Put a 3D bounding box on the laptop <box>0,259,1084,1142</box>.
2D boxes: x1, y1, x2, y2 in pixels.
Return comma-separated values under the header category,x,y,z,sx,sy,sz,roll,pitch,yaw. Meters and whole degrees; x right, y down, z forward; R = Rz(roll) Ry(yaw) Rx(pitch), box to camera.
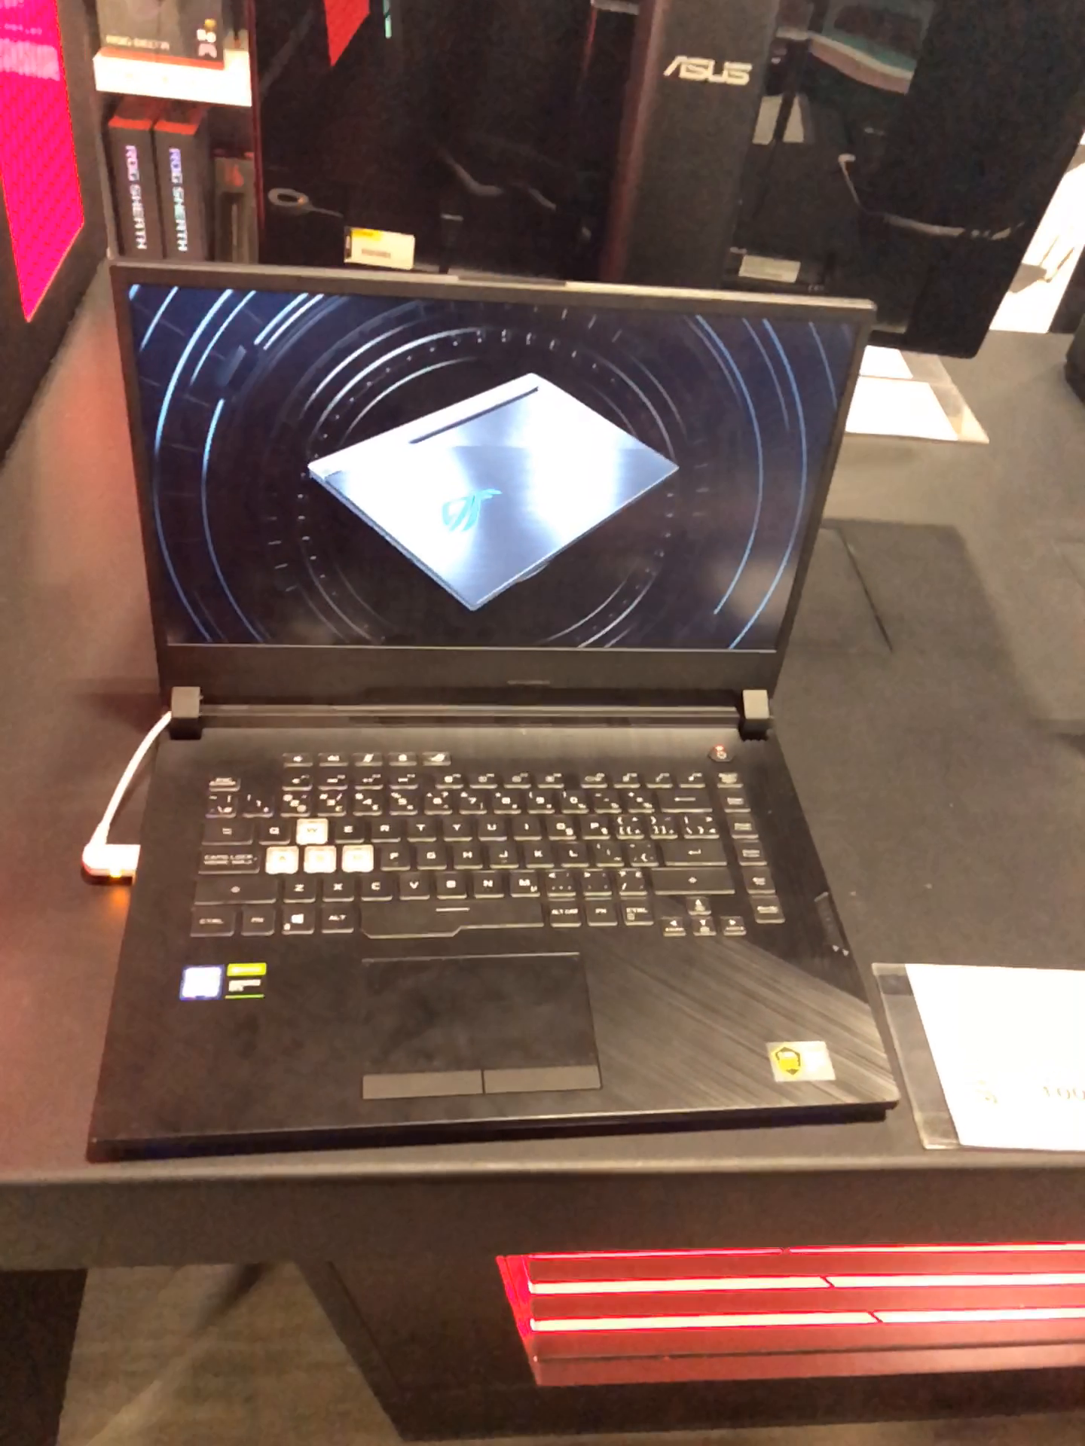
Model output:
category,x,y,z,sx,sy,sz,roll,pitch,yaw
laptop,-0.011,-0.011,0.547,0.360,0.268,0.276,0,44,-9
